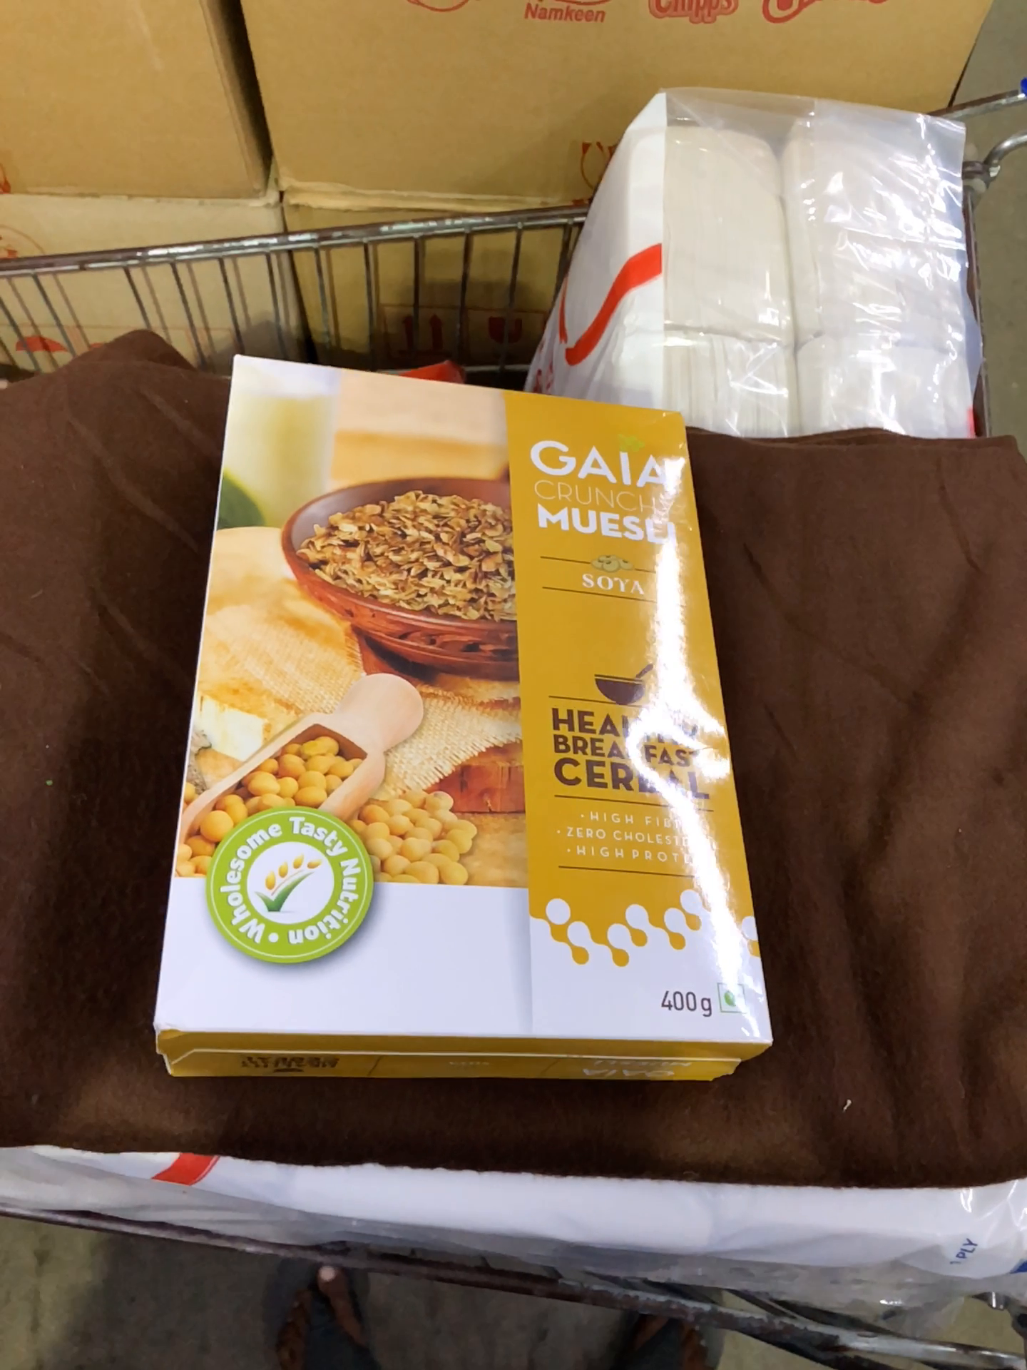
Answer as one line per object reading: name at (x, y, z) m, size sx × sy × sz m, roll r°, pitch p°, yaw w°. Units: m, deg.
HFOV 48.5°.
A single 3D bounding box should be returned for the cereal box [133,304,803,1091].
cereal box at (-0.016, 0.000, 0.366) m, size 0.170 × 0.060 × 0.241 m, roll 4°, pitch 62°, yaw -12°
